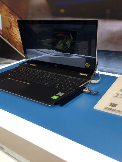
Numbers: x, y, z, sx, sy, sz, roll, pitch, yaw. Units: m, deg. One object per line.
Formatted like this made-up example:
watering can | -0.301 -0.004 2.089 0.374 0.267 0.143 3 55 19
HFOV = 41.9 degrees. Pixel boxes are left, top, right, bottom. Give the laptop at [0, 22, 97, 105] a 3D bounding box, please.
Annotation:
laptop | -0.119 -0.096 0.598 0.373 0.212 0.270 15 34 32
